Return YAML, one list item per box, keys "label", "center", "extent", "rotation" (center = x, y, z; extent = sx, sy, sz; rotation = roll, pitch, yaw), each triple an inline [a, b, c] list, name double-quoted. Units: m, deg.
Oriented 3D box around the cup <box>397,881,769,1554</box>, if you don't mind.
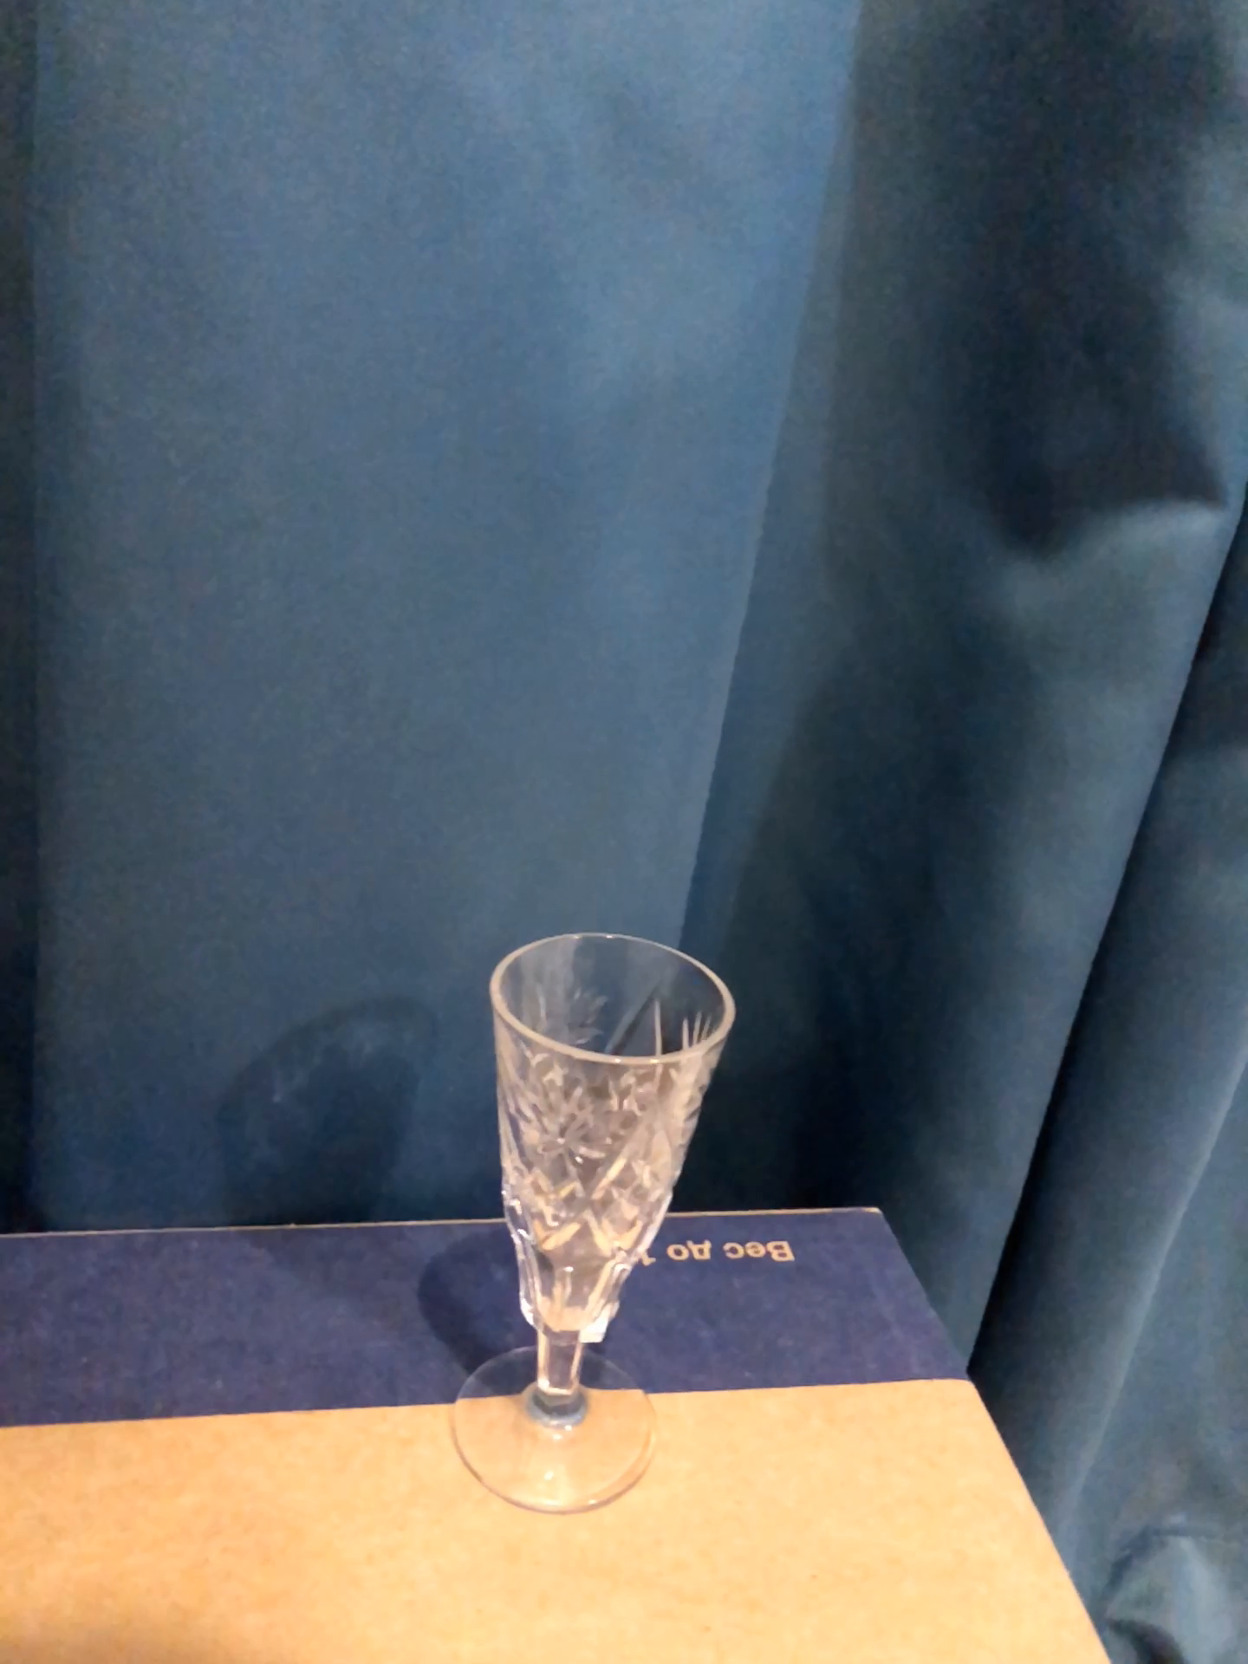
- label: "cup"
  center: [-0.010, 0.079, 0.284]
  extent: [0.053, 0.118, 0.051]
  rotation: [6, 26, -3]
